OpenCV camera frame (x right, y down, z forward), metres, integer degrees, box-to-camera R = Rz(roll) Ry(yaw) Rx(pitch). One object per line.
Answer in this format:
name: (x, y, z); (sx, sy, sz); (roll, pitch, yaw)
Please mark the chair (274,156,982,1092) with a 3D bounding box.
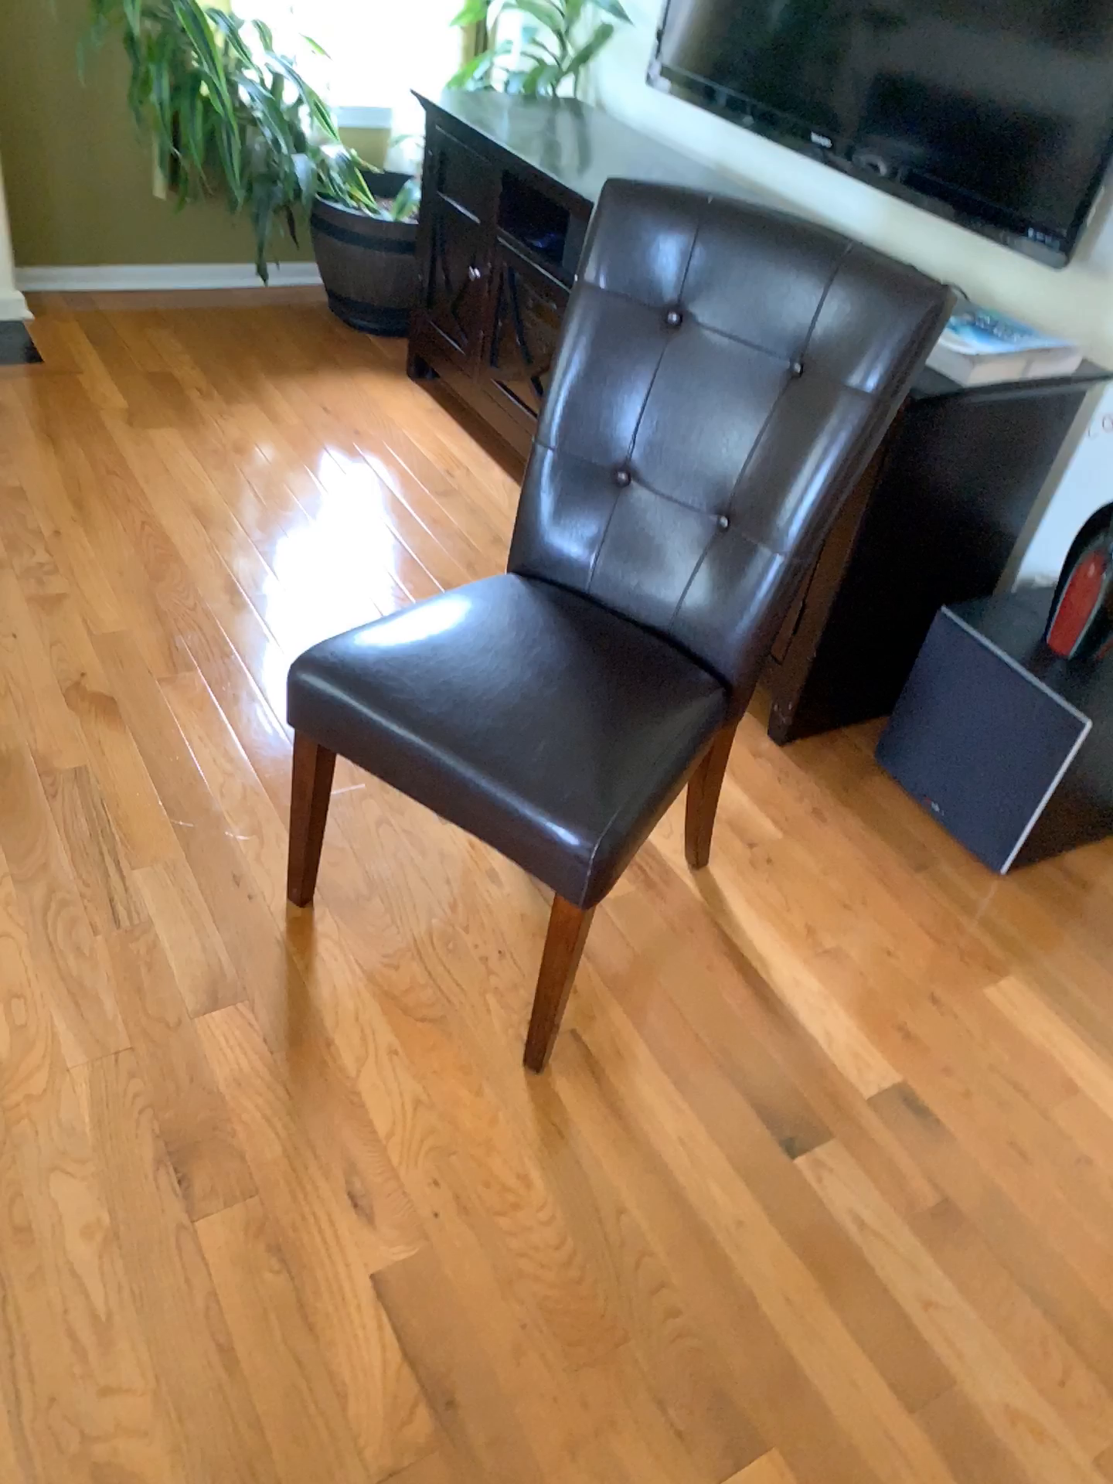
chair: (0.053, -0.176, 1.556); (0.498, 0.968, 0.706); (30, 42, 21)
